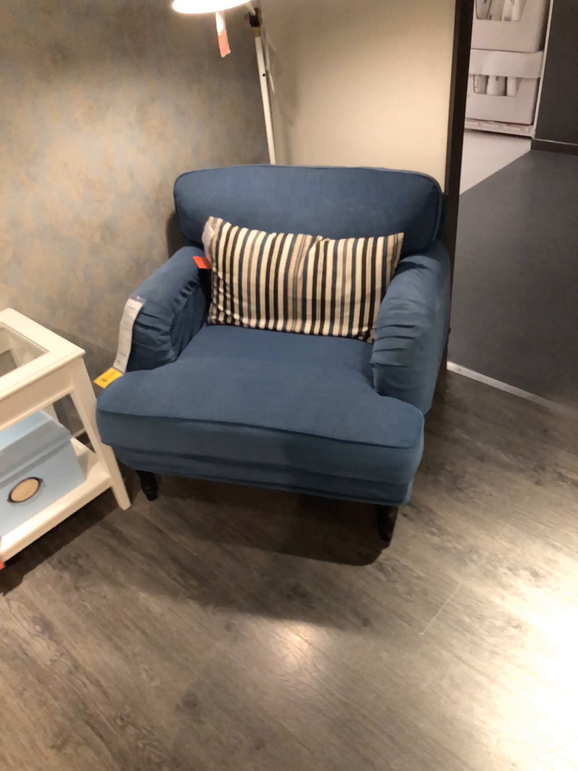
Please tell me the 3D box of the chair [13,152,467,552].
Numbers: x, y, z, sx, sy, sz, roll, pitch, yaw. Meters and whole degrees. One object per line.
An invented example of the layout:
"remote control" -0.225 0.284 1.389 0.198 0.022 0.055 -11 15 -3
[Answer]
"chair" -0.024 -0.163 1.751 0.891 0.695 0.805 6 38 16
